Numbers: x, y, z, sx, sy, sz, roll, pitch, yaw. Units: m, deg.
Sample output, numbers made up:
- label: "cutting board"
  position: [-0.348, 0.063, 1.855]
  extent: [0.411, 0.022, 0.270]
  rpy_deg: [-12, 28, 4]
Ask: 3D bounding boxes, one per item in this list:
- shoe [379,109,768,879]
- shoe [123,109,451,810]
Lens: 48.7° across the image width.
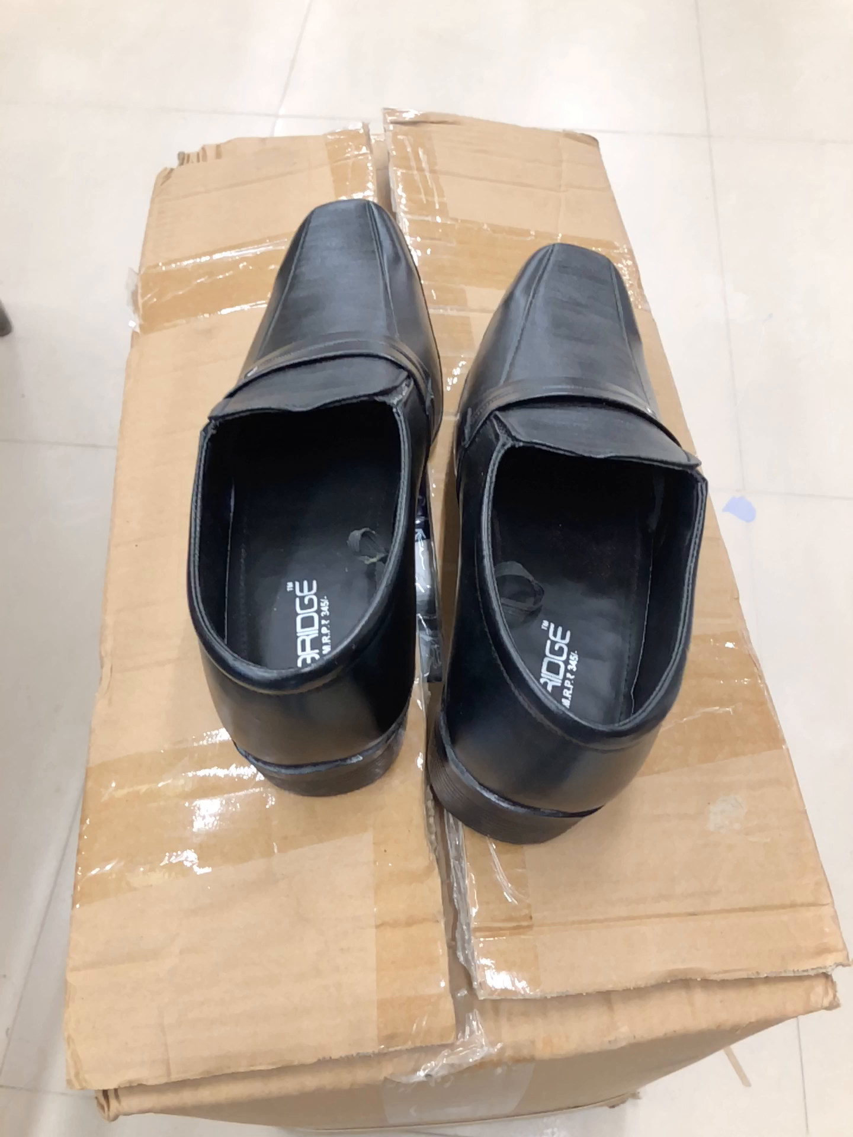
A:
- label: "shoe"
  position: [0.056, -0.041, 0.420]
  extent: [0.100, 0.129, 0.312]
  rpy_deg: [10, 58, -8]
- label: "shoe"
  position: [-0.043, -0.056, 0.419]
  extent: [0.100, 0.129, 0.291]
  rpy_deg: [-1, 59, 0]
